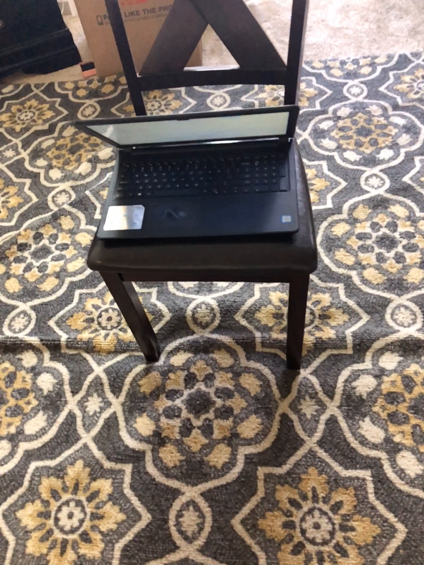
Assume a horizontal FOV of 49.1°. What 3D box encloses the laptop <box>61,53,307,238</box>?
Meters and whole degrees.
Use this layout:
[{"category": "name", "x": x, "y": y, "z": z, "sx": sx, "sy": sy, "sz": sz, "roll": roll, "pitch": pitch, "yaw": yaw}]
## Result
[{"category": "laptop", "x": -0.034, "y": -0.241, "z": 0.829, "sx": 0.366, "sy": 0.186, "sz": 0.245, "roll": -1, "pitch": 55, "yaw": 5}]
